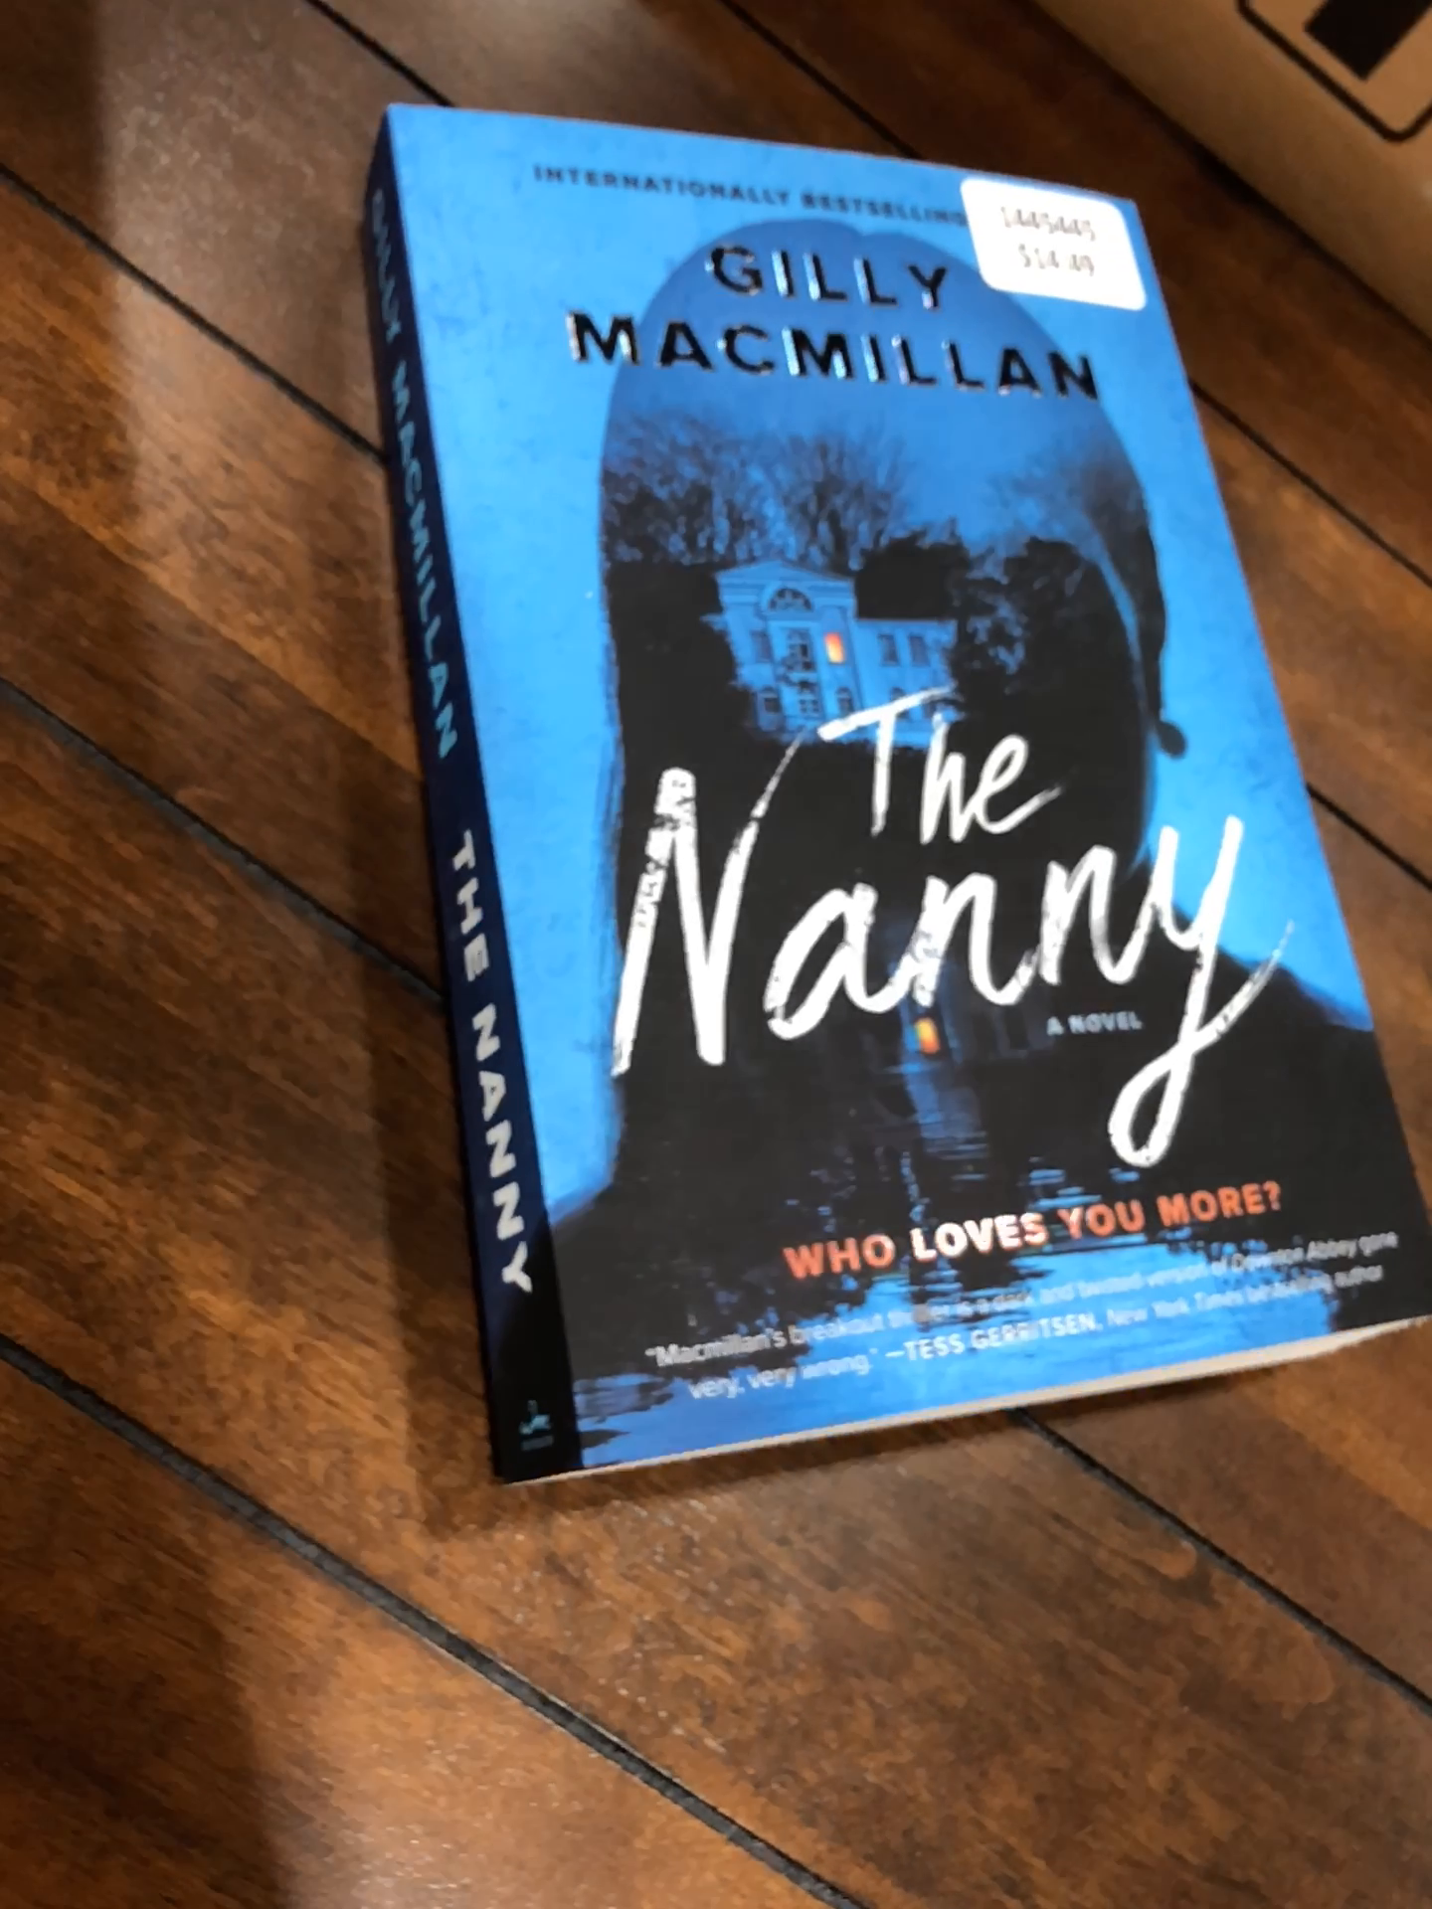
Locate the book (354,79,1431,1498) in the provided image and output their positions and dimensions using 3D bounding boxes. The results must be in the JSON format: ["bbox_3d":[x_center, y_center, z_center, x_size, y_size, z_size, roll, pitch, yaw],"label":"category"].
[{"bbox_3d":[0.029,-0.038,0.282,0.160,0.040,0.230,-2,69,-20],"label":"book"}]
